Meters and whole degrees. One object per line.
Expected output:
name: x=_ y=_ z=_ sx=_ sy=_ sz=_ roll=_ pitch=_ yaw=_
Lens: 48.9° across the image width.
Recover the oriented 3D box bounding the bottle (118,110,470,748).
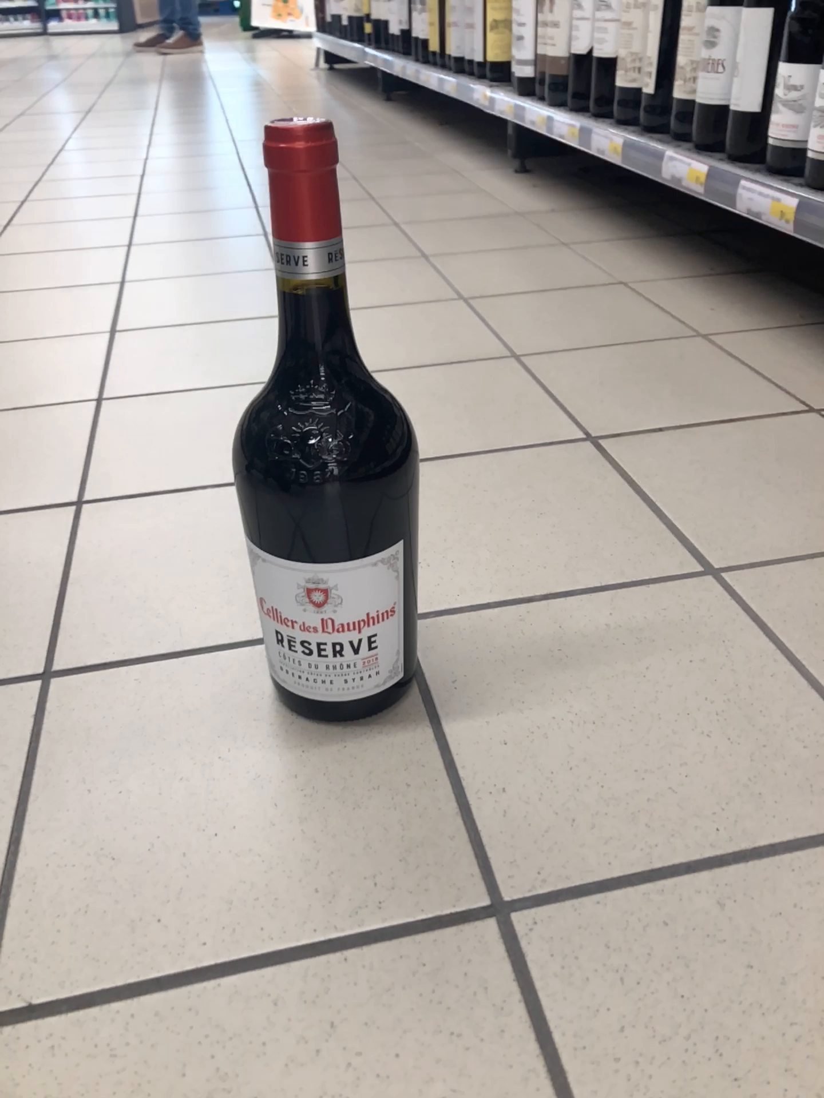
bottle: x=-0.036 y=-0.050 z=0.421 sx=0.110 sy=0.268 sz=0.101 roll=-2 pitch=31 yaw=1
